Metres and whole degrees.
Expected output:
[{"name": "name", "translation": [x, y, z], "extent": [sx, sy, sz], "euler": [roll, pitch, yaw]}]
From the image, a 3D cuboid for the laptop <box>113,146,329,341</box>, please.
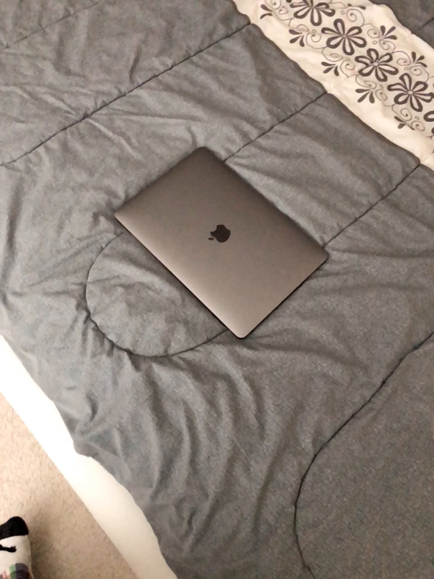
[{"name": "laptop", "translation": [0.006, -0.088, 0.790], "extent": [0.207, 0.008, 0.295], "euler": [-42, 75, -17]}]
